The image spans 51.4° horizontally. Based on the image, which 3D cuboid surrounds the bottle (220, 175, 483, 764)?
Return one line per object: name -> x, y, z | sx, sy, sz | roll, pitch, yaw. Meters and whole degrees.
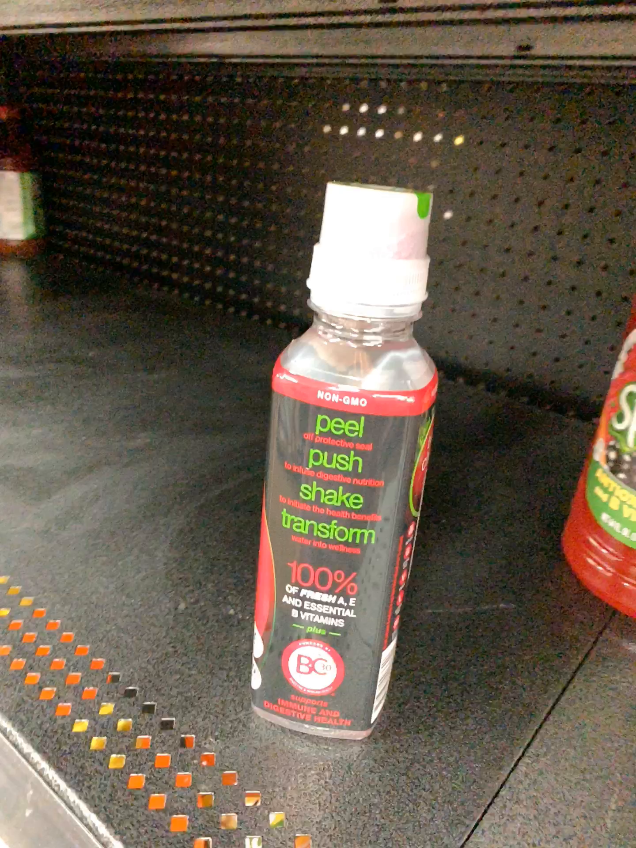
bottle -> 0.009, 0.020, 0.255 | 0.070, 0.209, 0.069 | 4, 24, -2
